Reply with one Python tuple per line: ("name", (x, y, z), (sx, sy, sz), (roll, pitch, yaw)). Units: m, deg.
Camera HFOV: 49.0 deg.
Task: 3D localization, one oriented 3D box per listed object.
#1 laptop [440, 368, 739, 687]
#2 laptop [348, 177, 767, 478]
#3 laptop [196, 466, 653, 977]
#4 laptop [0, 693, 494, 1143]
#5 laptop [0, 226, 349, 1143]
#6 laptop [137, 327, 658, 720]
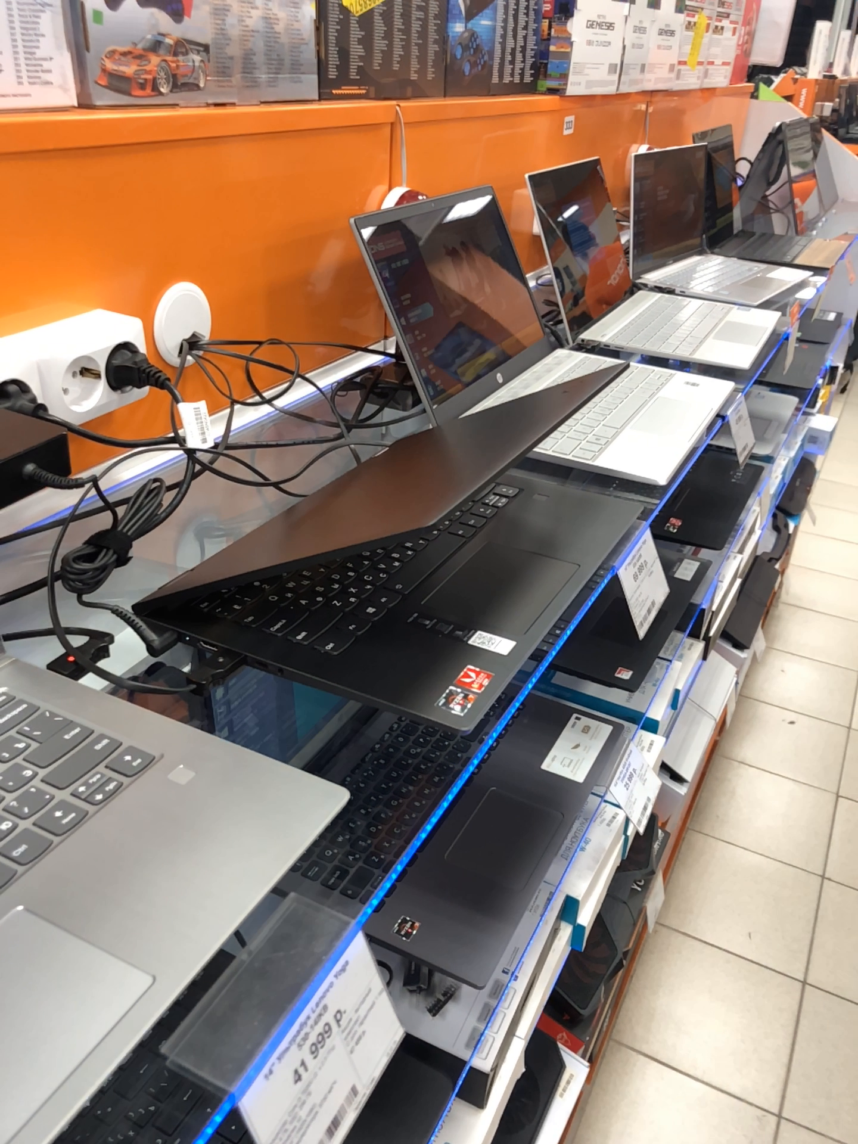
("laptop", (0.206, -0.079, 1.184), (0.253, 0.229, 0.346), (16, 32, 23))
("laptop", (0.131, -0.264, 0.937), (0.317, 0.162, 0.284), (19, 34, 21))
("laptop", (0.013, 0.101, 0.857), (0.256, 0.236, 0.355), (16, 32, 22))
("laptop", (-0.168, 0.285, 0.486), (0.265, 0.223, 0.375), (15, 30, 20))
("laptop", (-0.211, 0.036, 0.305), (0.267, 0.219, 0.312), (16, 29, 20))
("laptop", (0.003, -0.063, 0.636), (0.214, 0.102, 0.325), (16, 31, 21))
